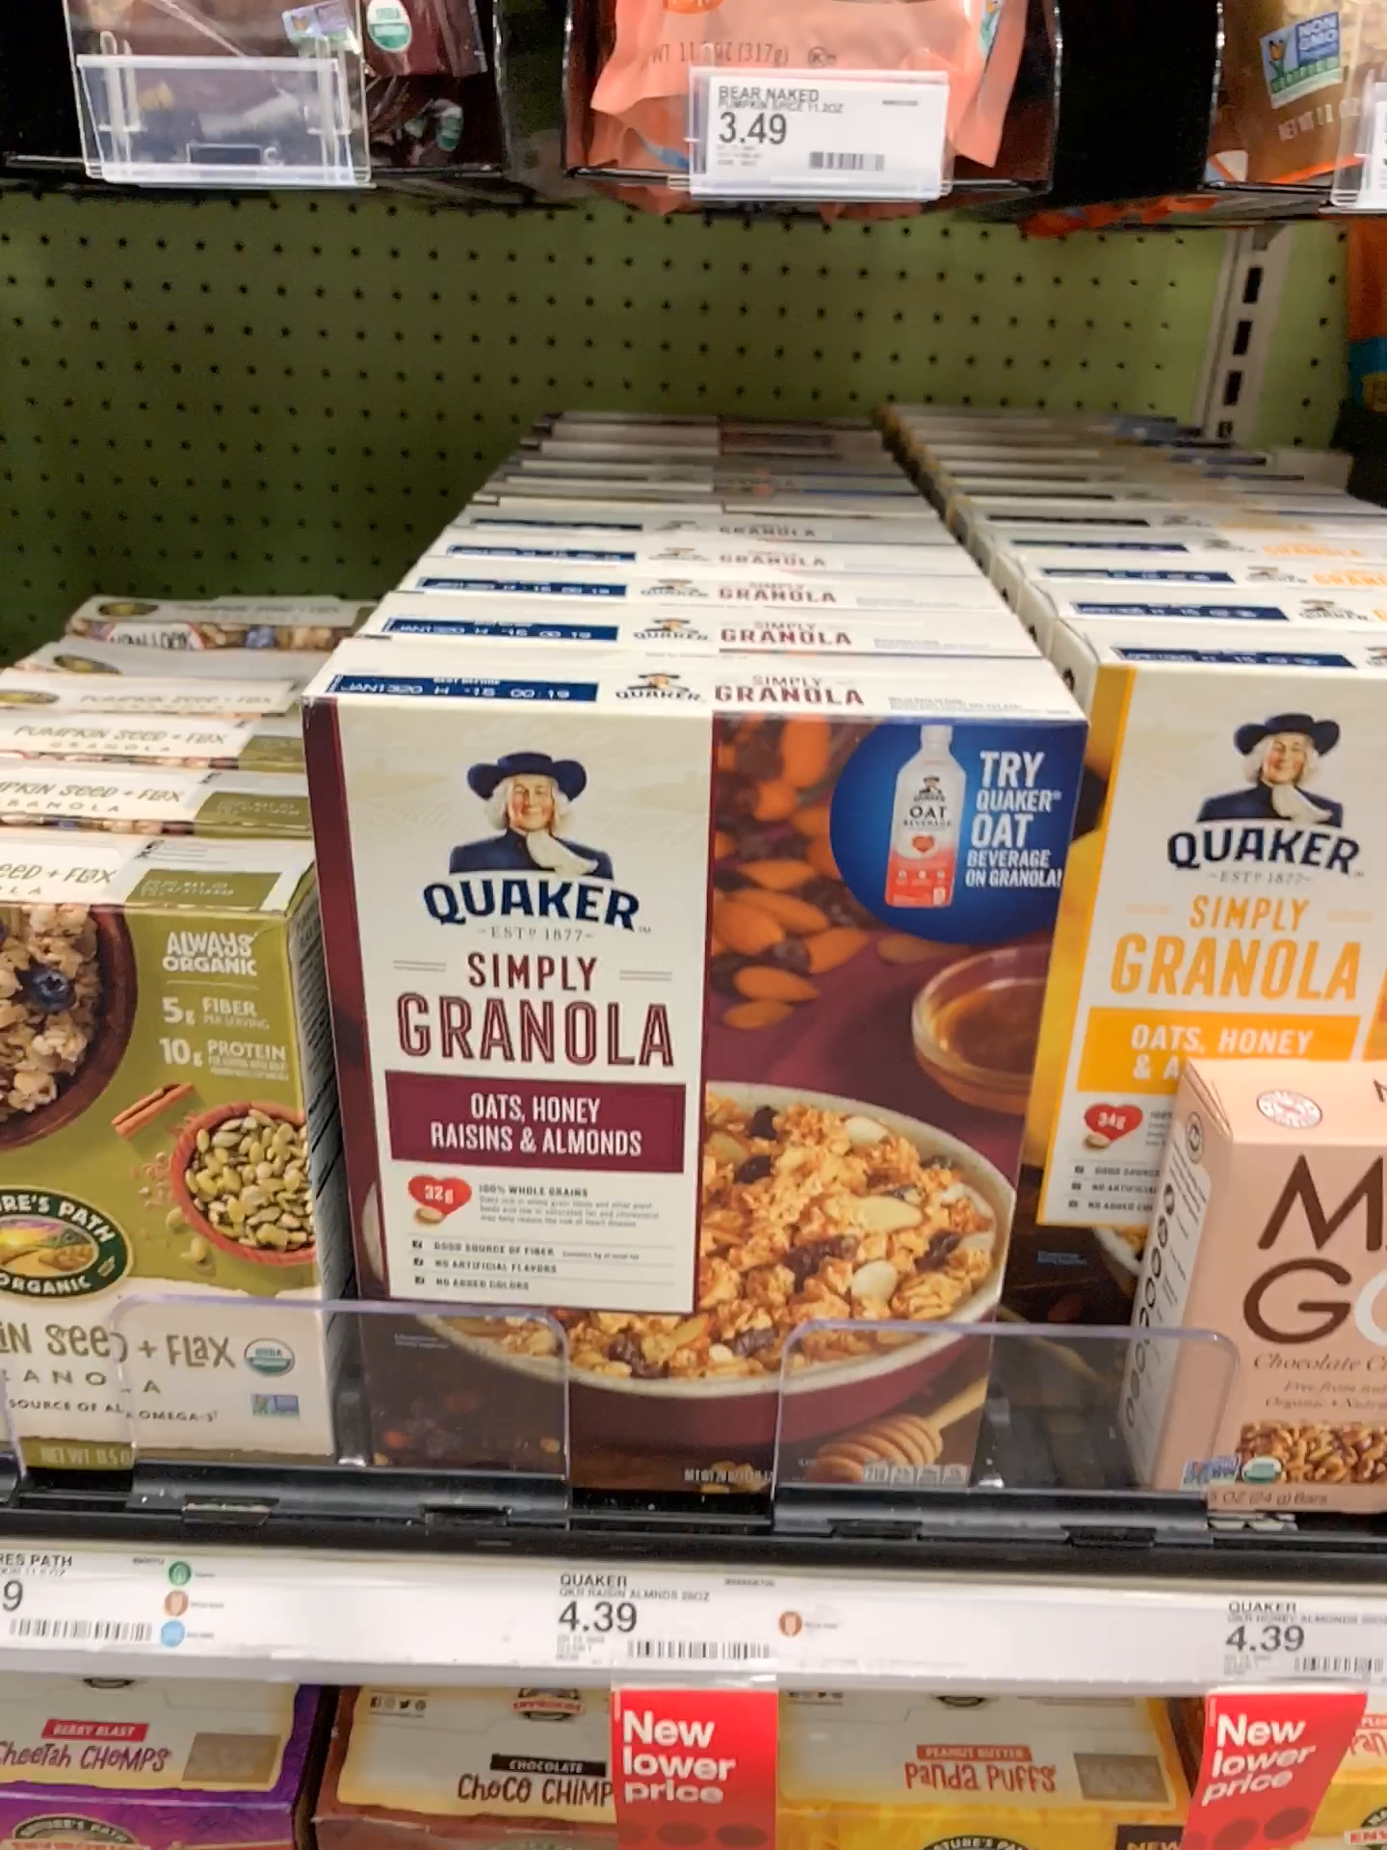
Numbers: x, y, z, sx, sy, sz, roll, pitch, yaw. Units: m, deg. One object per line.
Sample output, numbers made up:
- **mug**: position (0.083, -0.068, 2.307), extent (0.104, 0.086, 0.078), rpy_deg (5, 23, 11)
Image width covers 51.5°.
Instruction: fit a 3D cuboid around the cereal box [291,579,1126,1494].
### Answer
- **cereal box**: position (-0.001, 0.040, 0.393), extent (0.180, 0.249, 0.060), rpy_deg (2, 27, -1)
